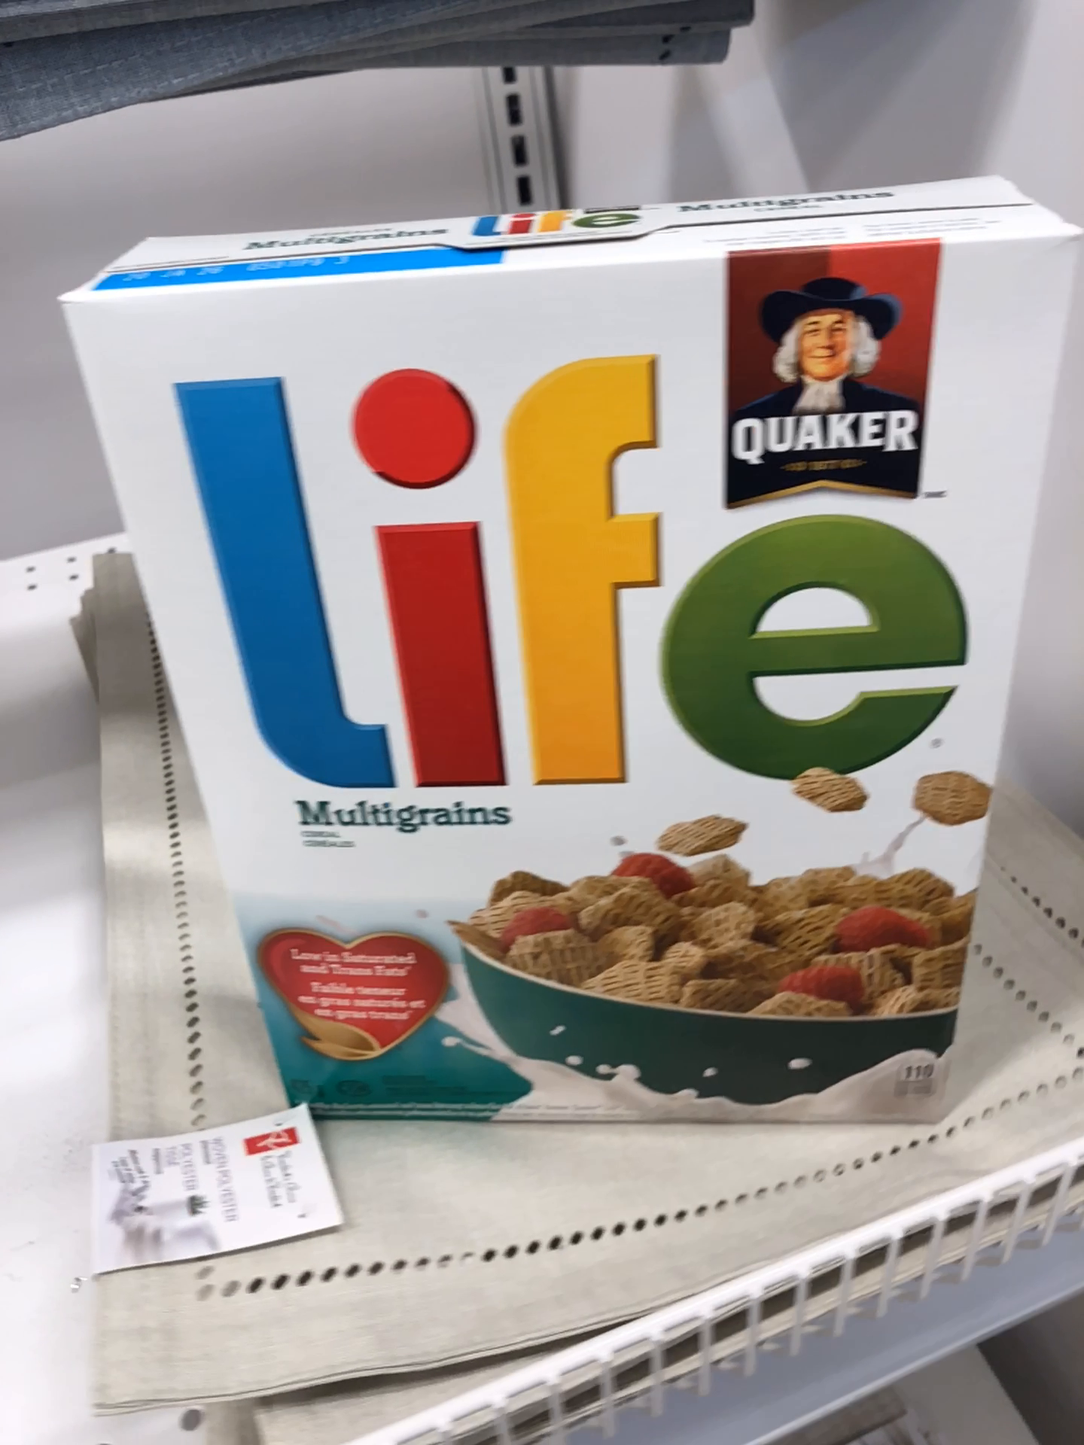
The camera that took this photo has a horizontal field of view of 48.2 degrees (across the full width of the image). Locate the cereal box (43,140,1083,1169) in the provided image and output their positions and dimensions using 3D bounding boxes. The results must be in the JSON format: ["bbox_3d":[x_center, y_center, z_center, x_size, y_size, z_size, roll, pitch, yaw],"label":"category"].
[{"bbox_3d":[0.015,0.004,0.333,0.210,0.279,0.060,-1,31,6],"label":"cereal box"}]
